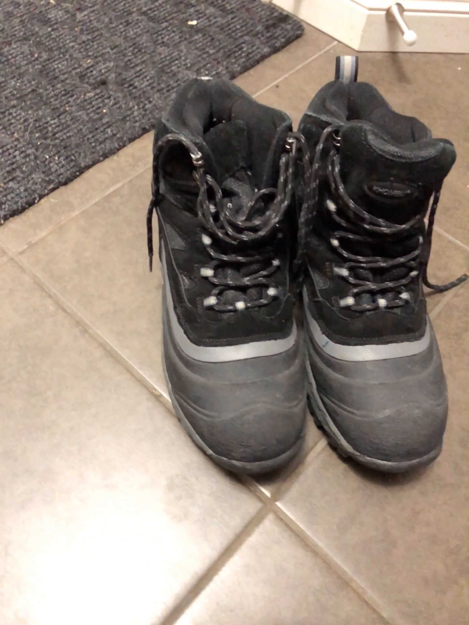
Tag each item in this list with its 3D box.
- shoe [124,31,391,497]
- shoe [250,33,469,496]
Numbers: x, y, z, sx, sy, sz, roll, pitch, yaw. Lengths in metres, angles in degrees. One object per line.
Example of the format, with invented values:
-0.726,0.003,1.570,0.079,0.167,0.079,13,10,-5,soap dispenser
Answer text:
-0.009,-0.036,0.403,0.120,0.200,0.290,-5,59,-7,shoe
0.104,-0.036,0.409,0.120,0.200,0.290,-6,59,-7,shoe
